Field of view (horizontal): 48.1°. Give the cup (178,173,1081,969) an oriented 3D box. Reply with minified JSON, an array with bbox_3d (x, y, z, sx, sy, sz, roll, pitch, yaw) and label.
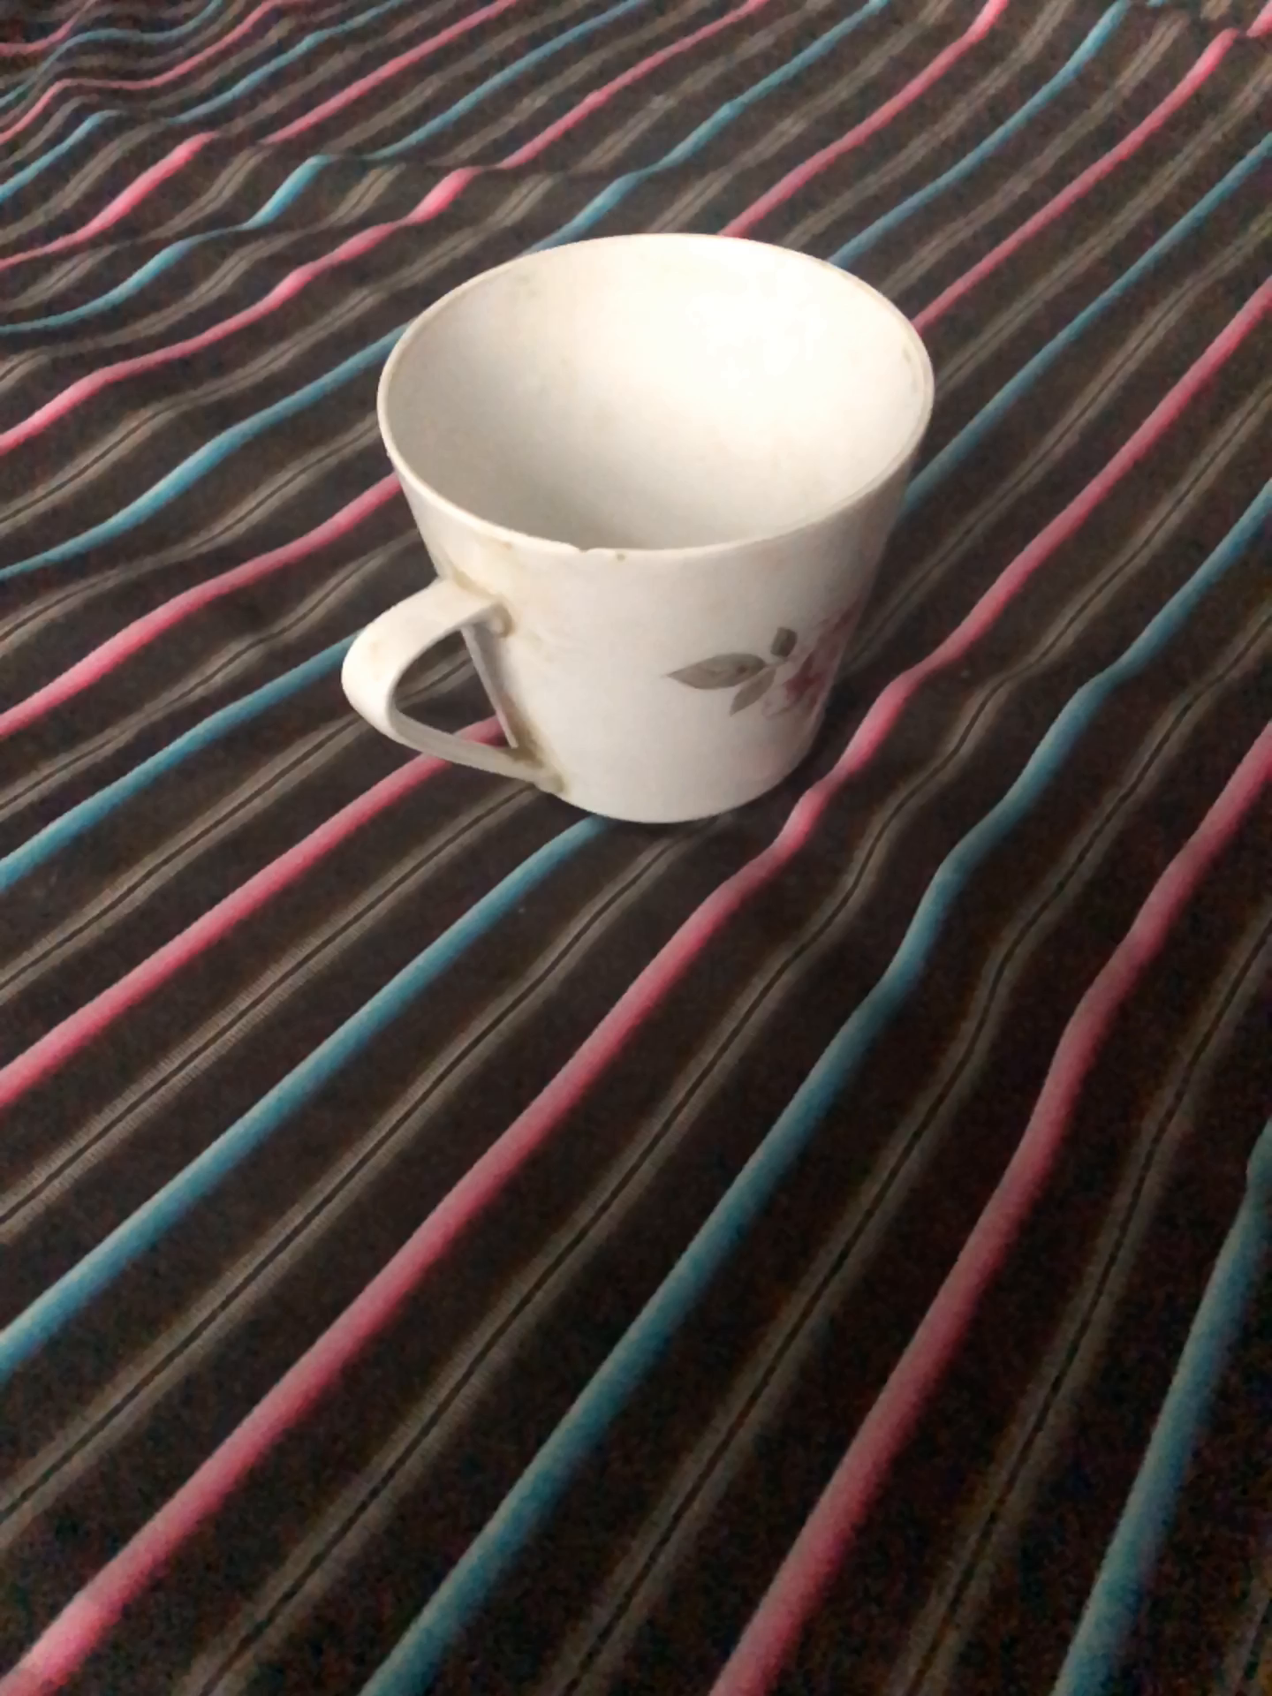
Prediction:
[{"bbox_3d":[-0.001,-0.045,0.208,0.094,0.049,0.073,-34,60,-23],"label":"cup"}]
